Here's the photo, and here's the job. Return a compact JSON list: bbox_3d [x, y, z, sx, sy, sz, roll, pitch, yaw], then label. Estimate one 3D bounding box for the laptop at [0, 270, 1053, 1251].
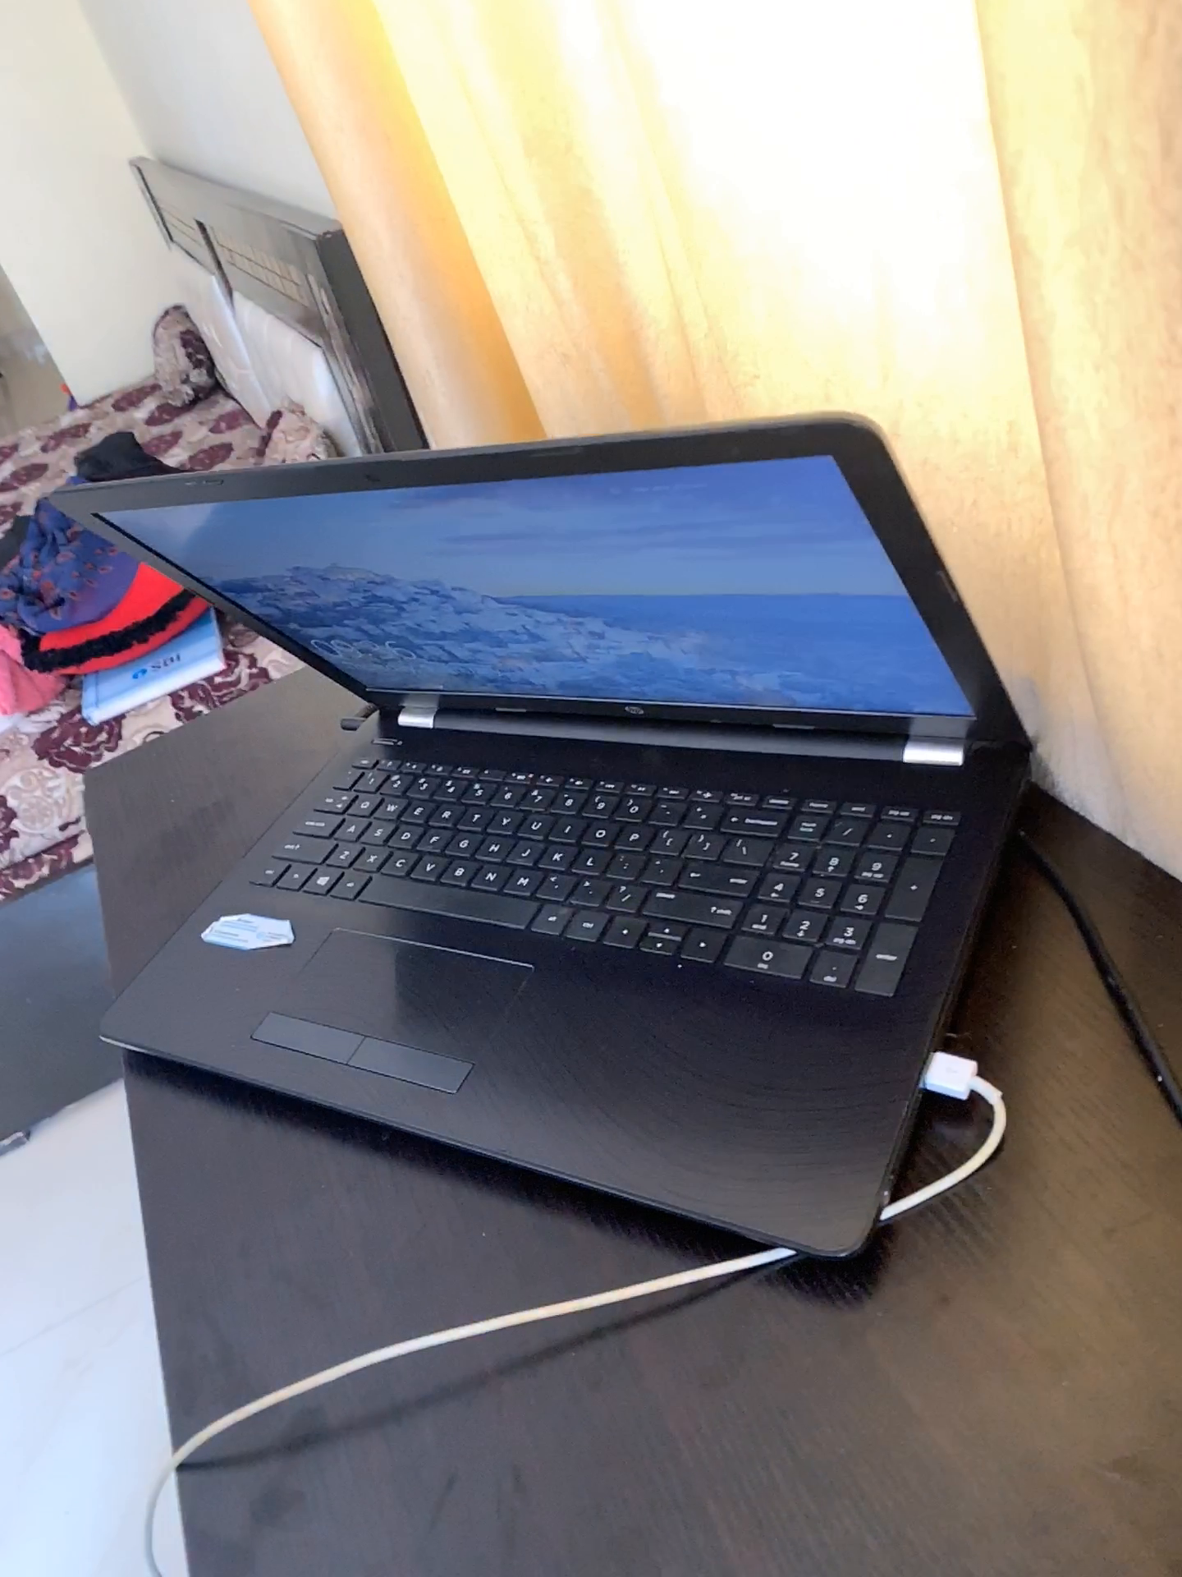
[{"bbox_3d":[-0.035,-0.030,0.489,0.363,0.200,0.239,6,44,34],"label":"laptop"}]
